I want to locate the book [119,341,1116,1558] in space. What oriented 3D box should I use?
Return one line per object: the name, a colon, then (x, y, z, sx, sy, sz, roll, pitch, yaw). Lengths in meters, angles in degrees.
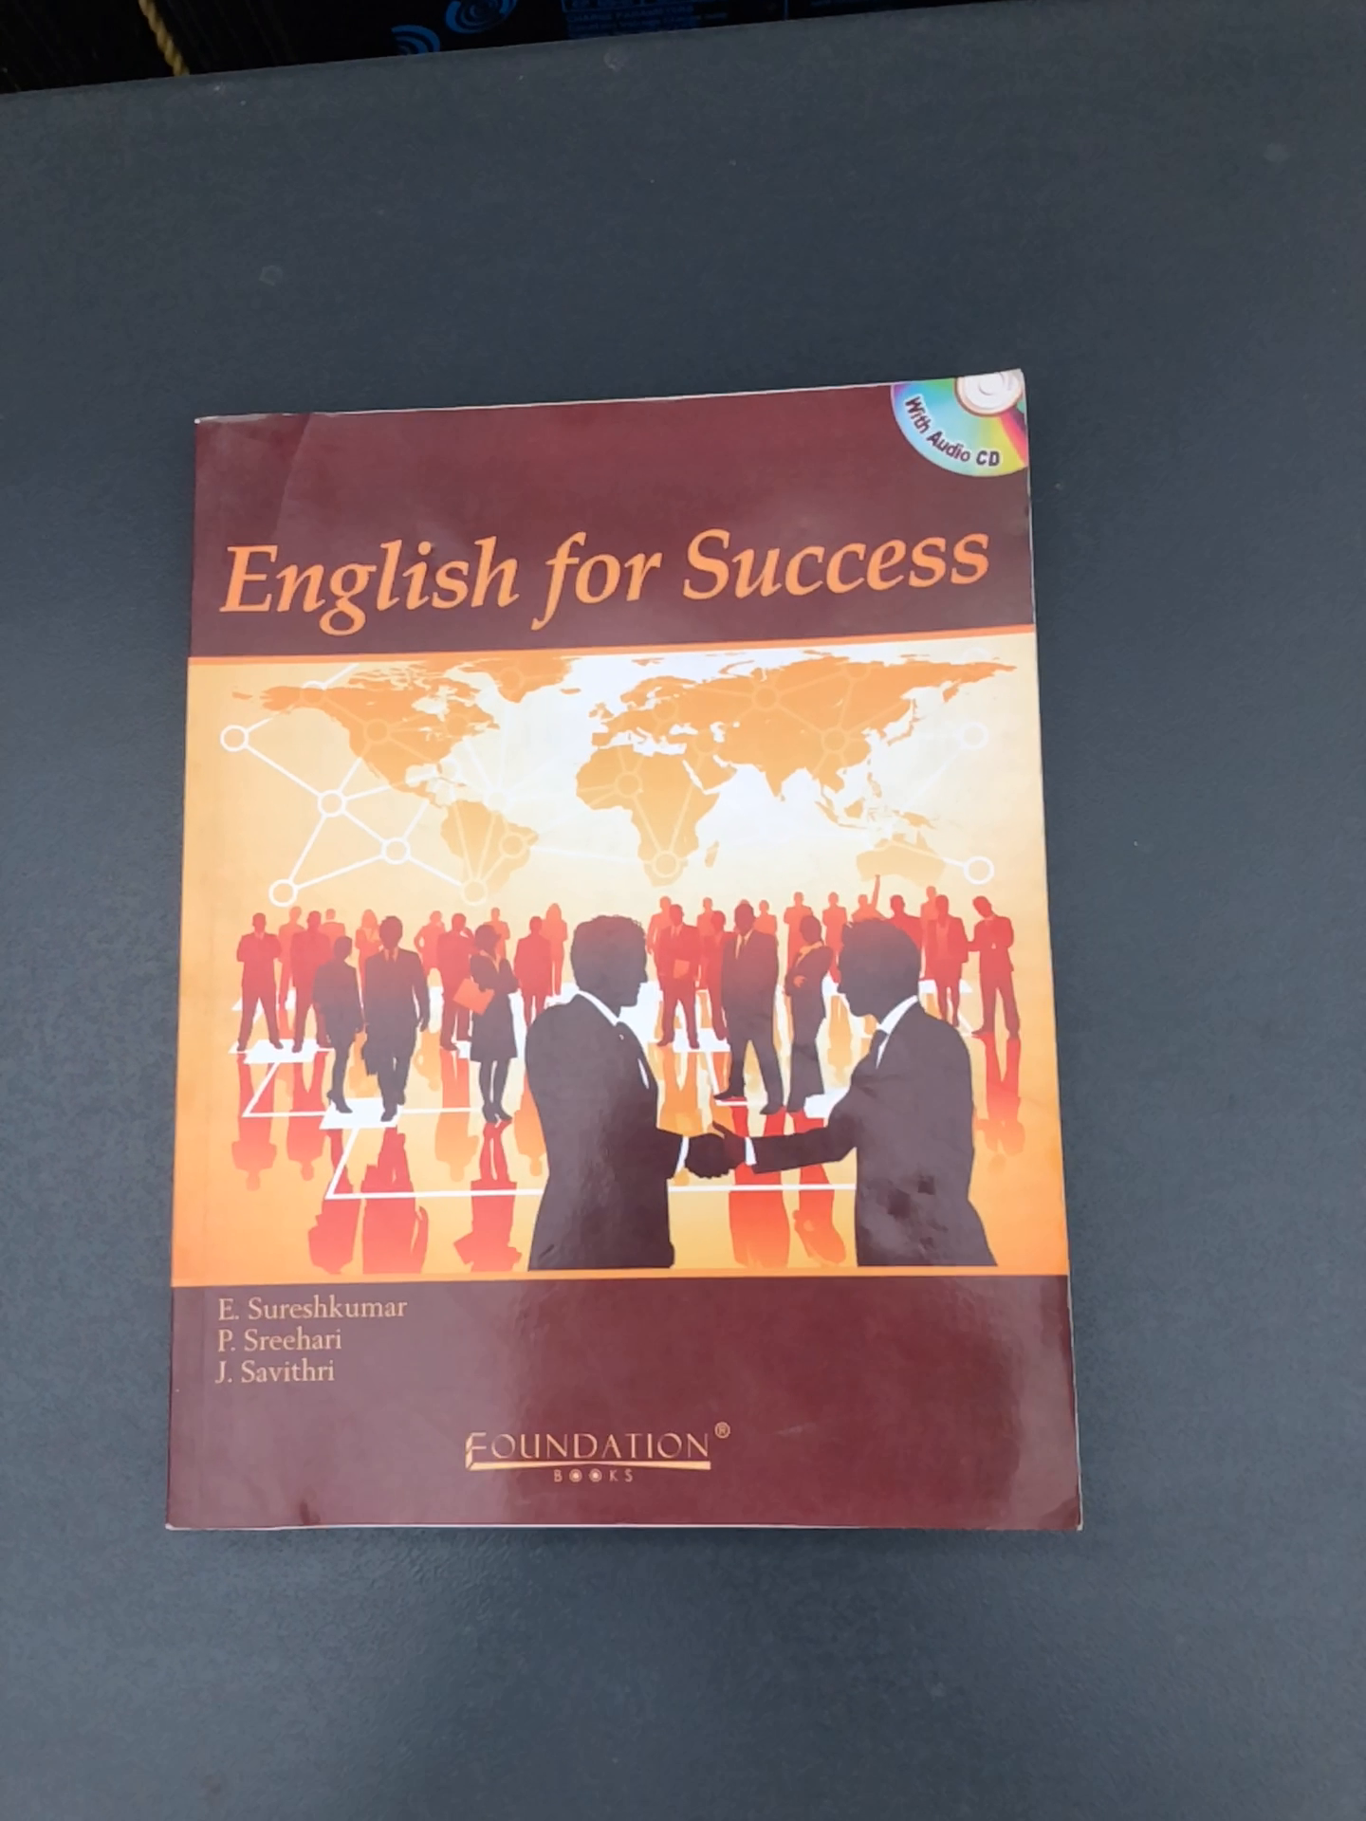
book: (-0.017, 0.005, 0.319, 0.190, 0.030, 0.240, -2, 81, 3)
